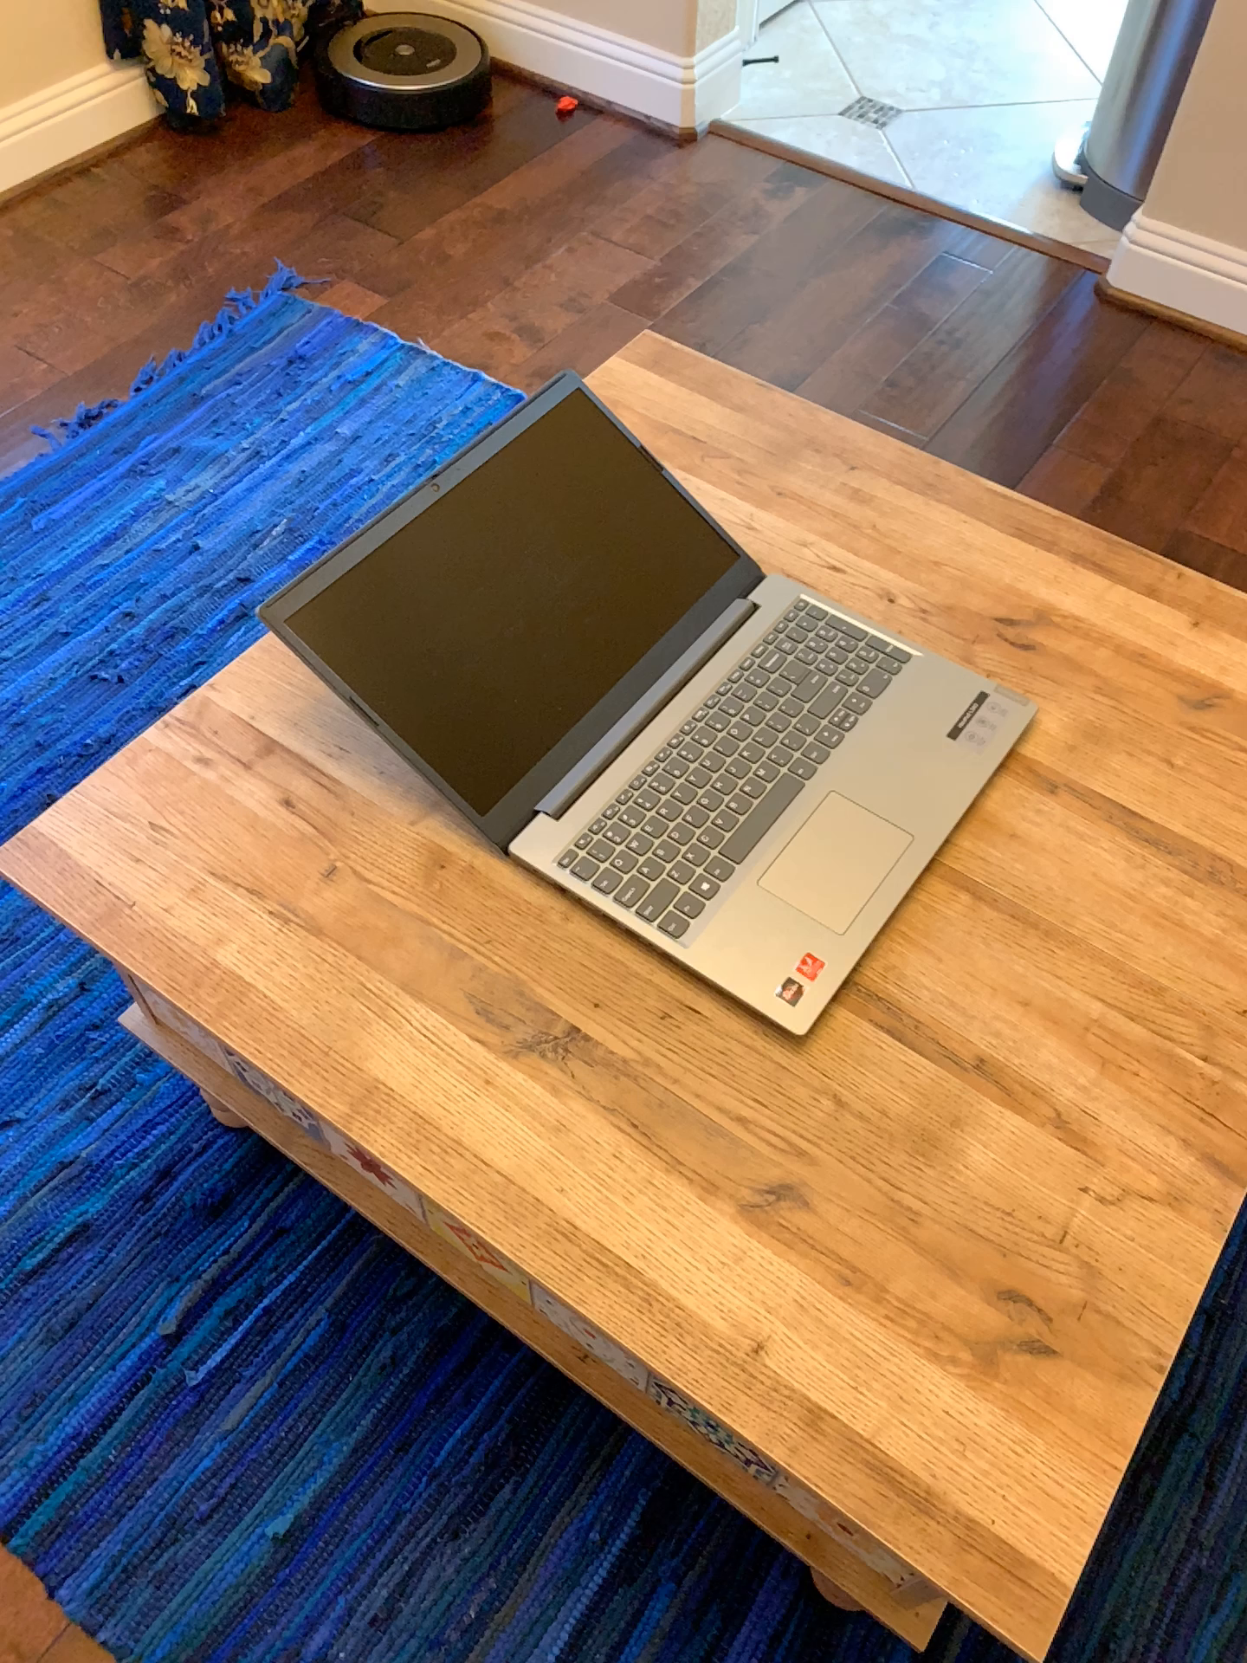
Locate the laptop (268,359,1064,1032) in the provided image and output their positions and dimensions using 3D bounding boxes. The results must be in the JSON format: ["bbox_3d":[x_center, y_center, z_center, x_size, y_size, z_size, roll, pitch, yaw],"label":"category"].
[{"bbox_3d":[0.034,-0.131,0.953,0.461,0.099,0.346,33,60,17],"label":"laptop"}]
